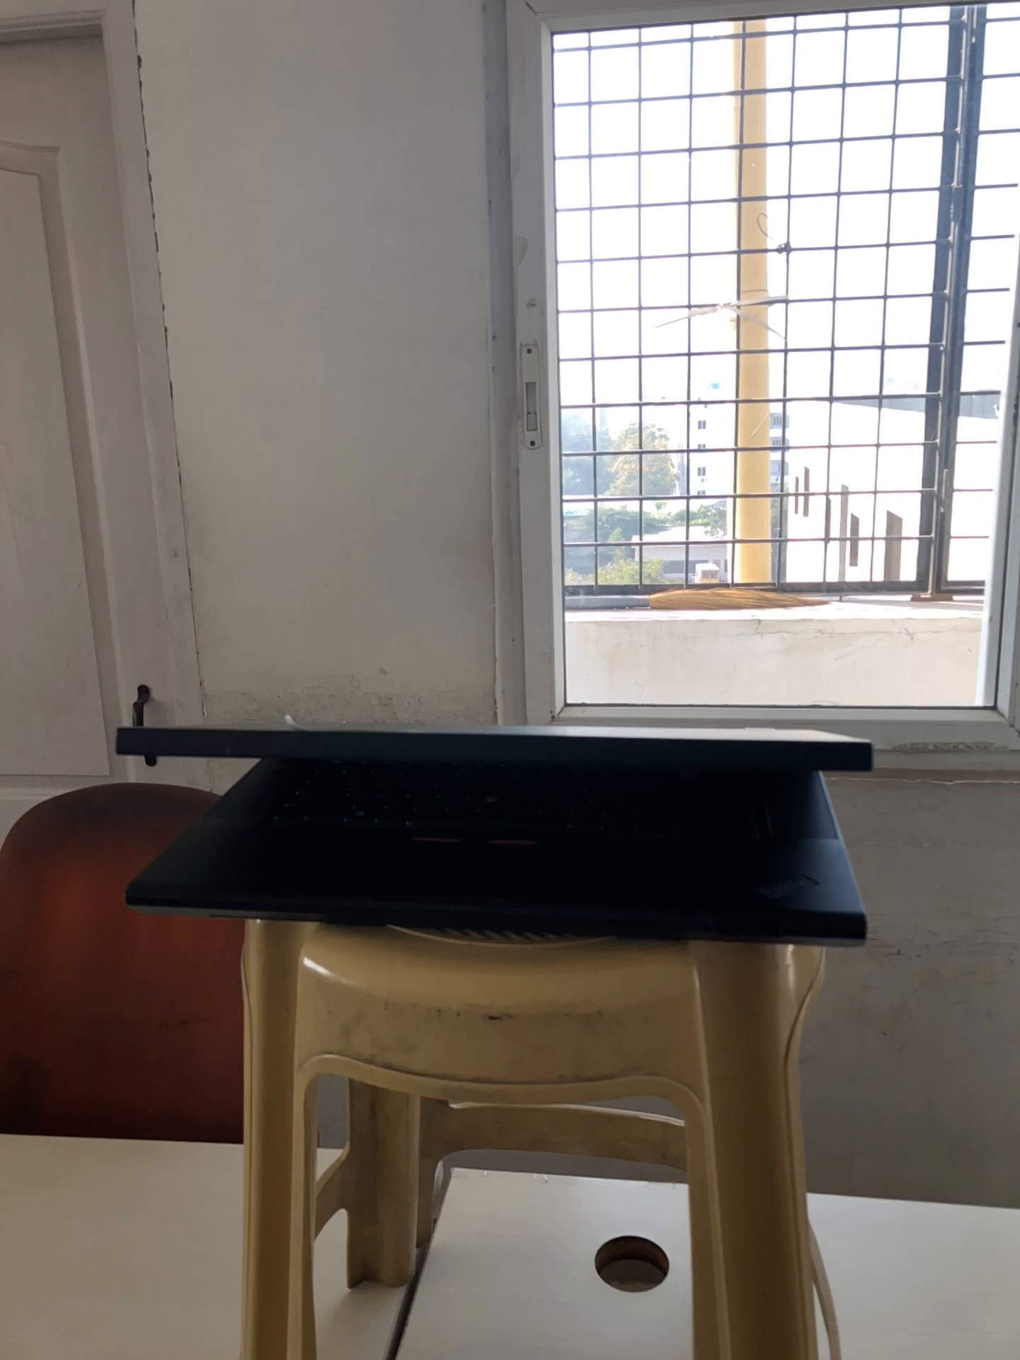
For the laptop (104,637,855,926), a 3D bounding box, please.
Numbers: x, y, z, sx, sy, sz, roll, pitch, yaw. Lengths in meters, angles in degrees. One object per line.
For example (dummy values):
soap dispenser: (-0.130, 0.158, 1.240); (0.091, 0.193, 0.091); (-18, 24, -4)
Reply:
laptop: (-0.002, 0.043, 0.648); (0.362, 0.075, 0.235); (1, 17, 9)
